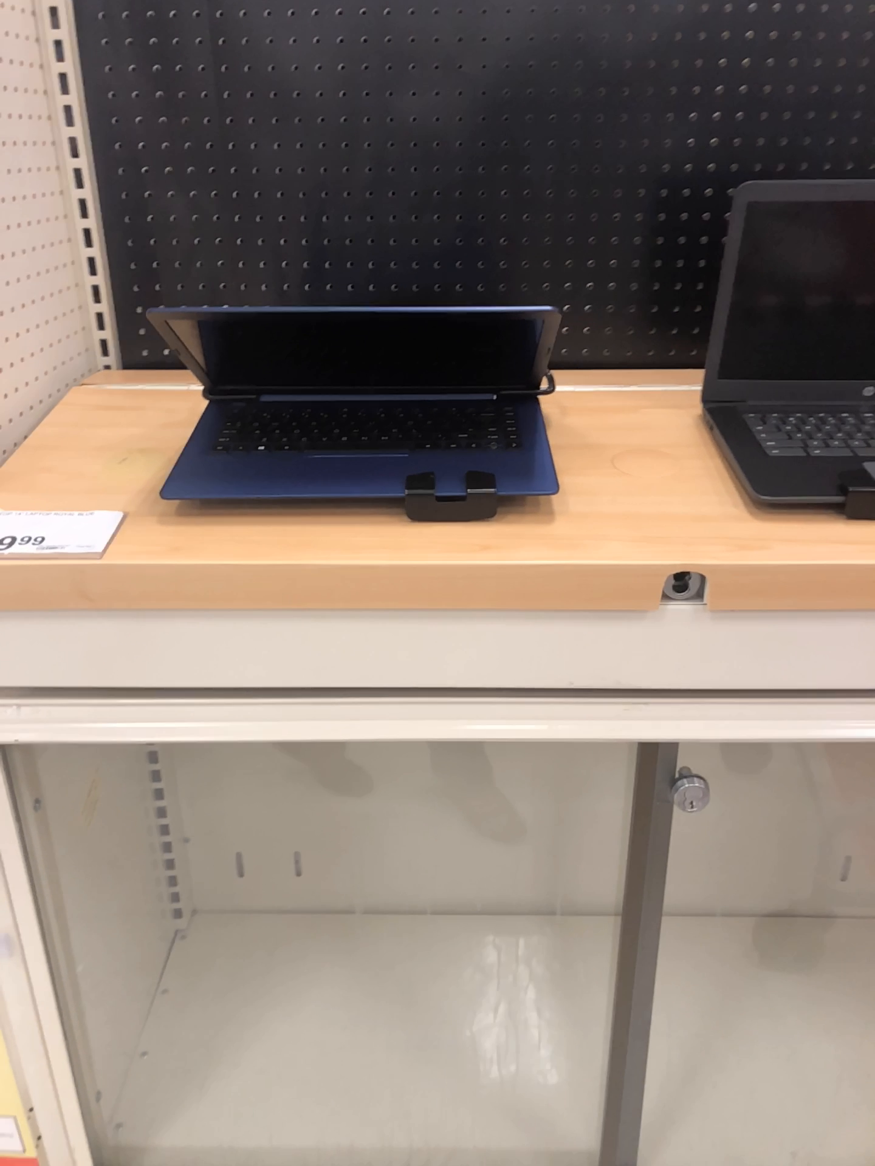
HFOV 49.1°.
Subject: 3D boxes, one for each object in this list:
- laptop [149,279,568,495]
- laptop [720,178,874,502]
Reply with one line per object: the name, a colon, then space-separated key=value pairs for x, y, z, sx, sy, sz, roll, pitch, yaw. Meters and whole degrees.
laptop: x=-0.060 y=-0.178 z=0.838 sx=0.320 sy=0.110 sz=0.202 roll=-1 pitch=30 yaw=1
laptop: x=0.434 y=-0.216 z=0.817 sx=0.330 sy=0.206 sz=0.224 roll=1 pitch=27 yaw=3
